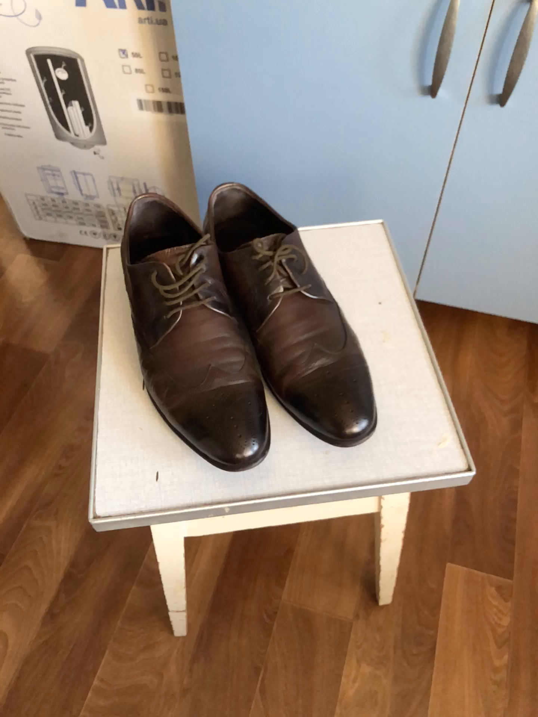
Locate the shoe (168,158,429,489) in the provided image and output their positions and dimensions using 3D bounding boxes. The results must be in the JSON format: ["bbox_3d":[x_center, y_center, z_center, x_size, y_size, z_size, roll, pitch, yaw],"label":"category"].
[{"bbox_3d":[0.010,-0.046,0.538,0.100,0.099,0.291,-20,56,-14],"label":"shoe"}]

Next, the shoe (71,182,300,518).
[{"bbox_3d":[-0.082,-0.022,0.539,0.100,0.099,0.291,-20,56,-14],"label":"shoe"}]
